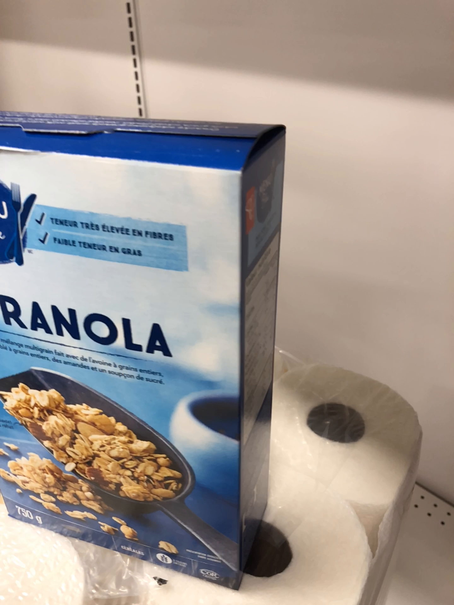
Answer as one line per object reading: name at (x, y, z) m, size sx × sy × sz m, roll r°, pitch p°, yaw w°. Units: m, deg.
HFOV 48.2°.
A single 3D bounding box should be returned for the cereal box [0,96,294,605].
cereal box at (-0.058, 0.032, 0.255) m, size 0.160 × 0.239 × 0.060 m, roll 10°, pitch 32°, yaw 18°
